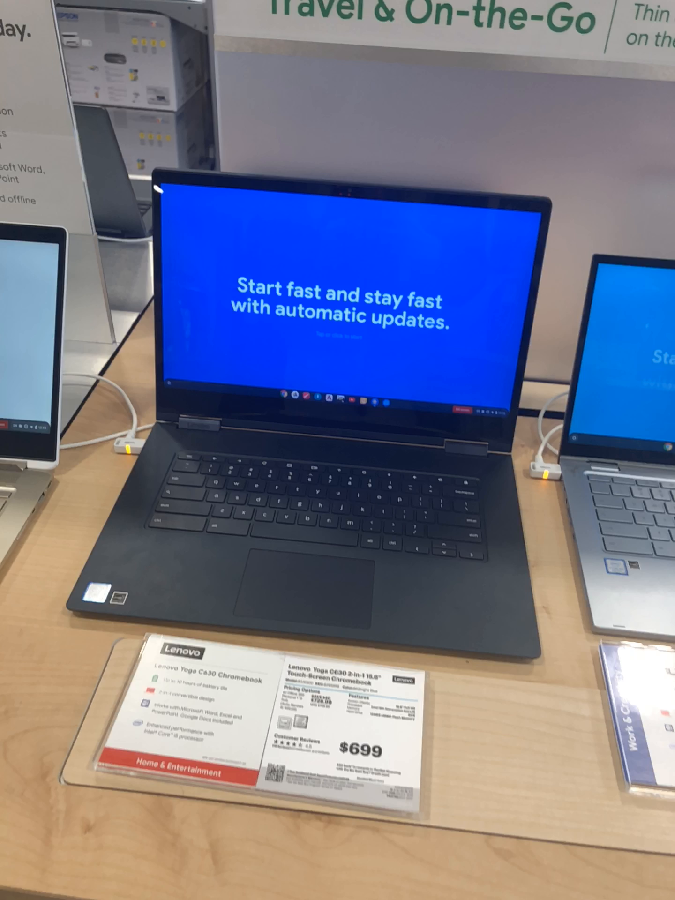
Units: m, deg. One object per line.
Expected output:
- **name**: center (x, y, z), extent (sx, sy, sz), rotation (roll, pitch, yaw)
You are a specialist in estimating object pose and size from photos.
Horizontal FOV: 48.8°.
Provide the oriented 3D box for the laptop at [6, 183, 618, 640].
- **laptop**: center (-0.005, -0.049, 0.602), extent (0.343, 0.230, 0.293), rotation (5, 37, 4)
